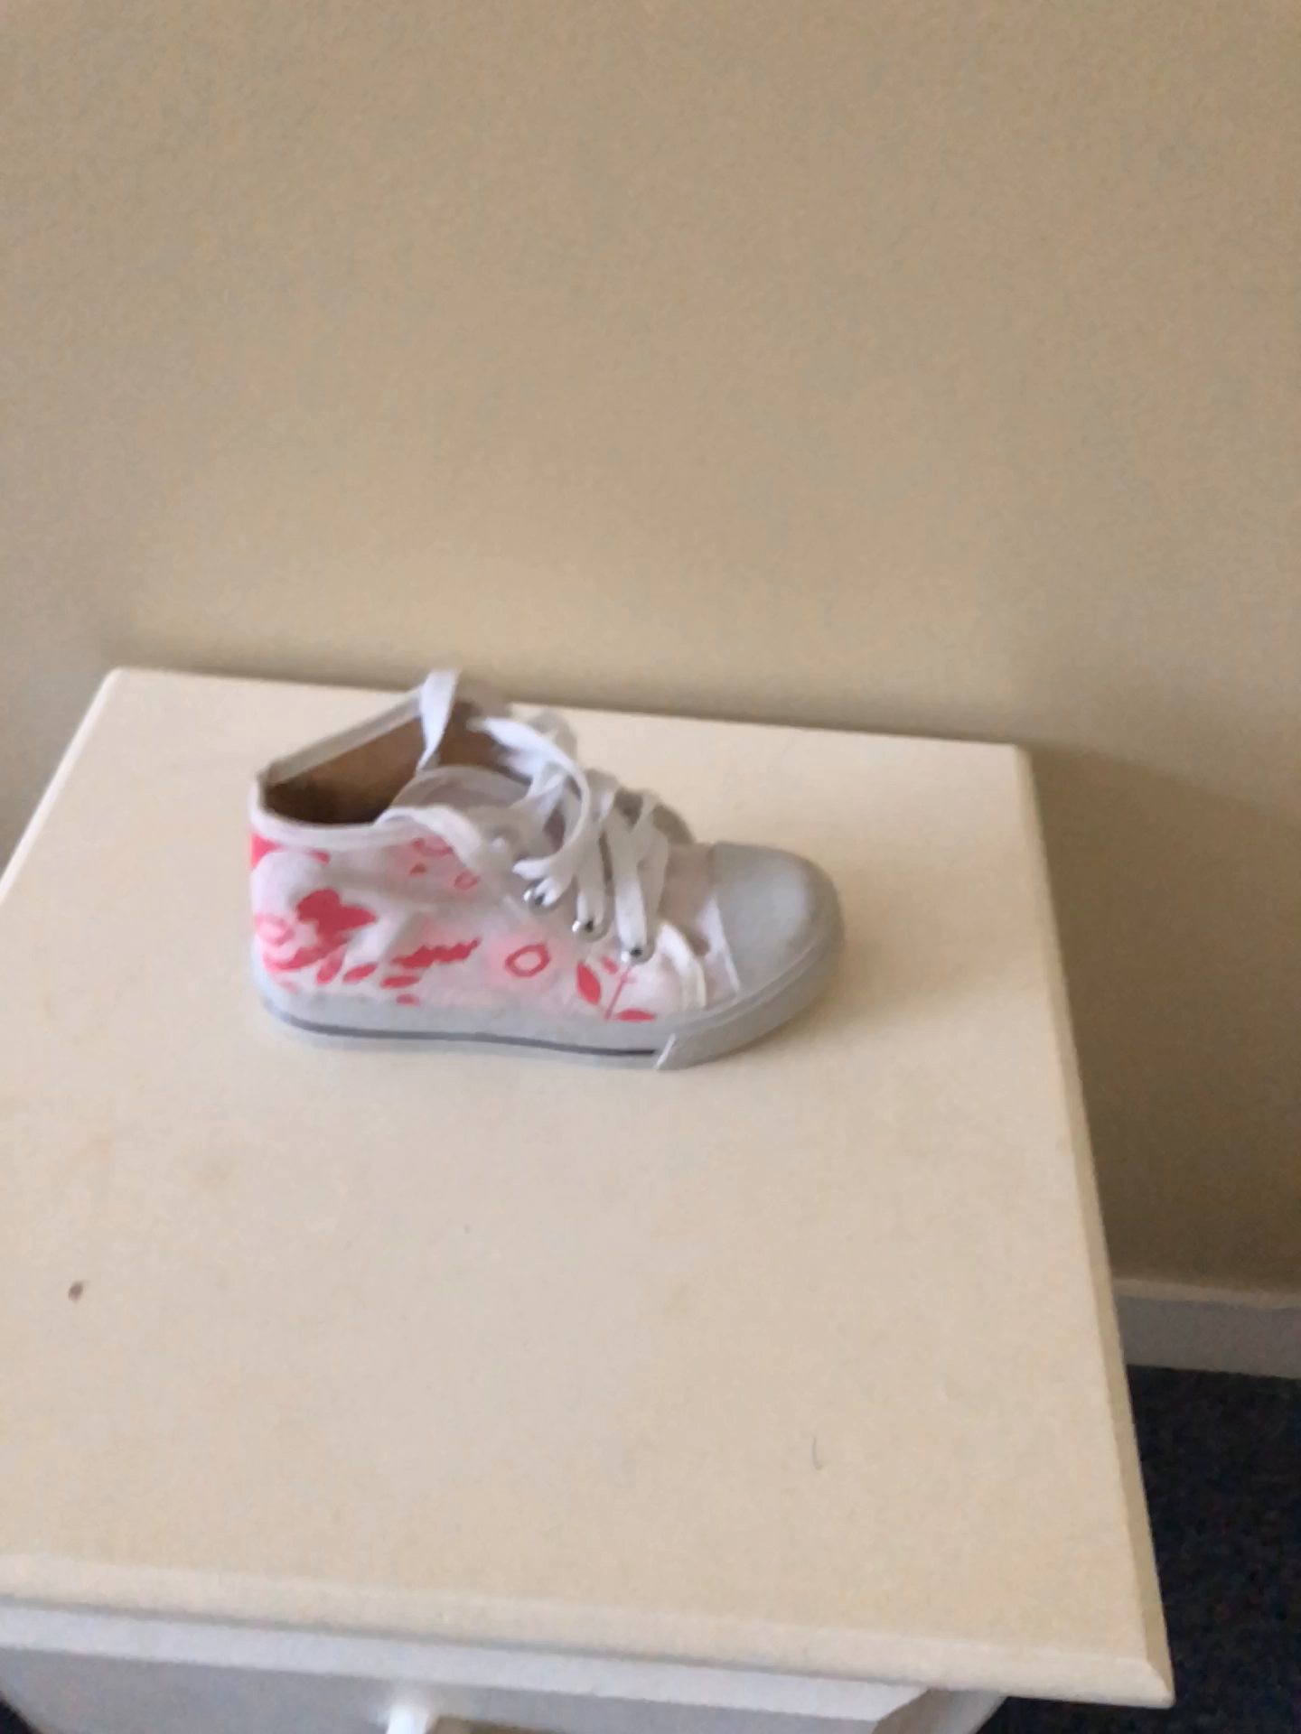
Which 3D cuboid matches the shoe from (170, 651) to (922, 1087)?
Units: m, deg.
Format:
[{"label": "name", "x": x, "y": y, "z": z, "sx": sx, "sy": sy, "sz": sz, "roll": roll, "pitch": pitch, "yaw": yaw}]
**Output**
[{"label": "shoe", "x": -0.028, "y": 0.003, "z": 0.430, "sx": 0.190, "sy": 0.099, "sz": 0.080, "roll": 1, "pitch": 46, "yaw": -3}]
